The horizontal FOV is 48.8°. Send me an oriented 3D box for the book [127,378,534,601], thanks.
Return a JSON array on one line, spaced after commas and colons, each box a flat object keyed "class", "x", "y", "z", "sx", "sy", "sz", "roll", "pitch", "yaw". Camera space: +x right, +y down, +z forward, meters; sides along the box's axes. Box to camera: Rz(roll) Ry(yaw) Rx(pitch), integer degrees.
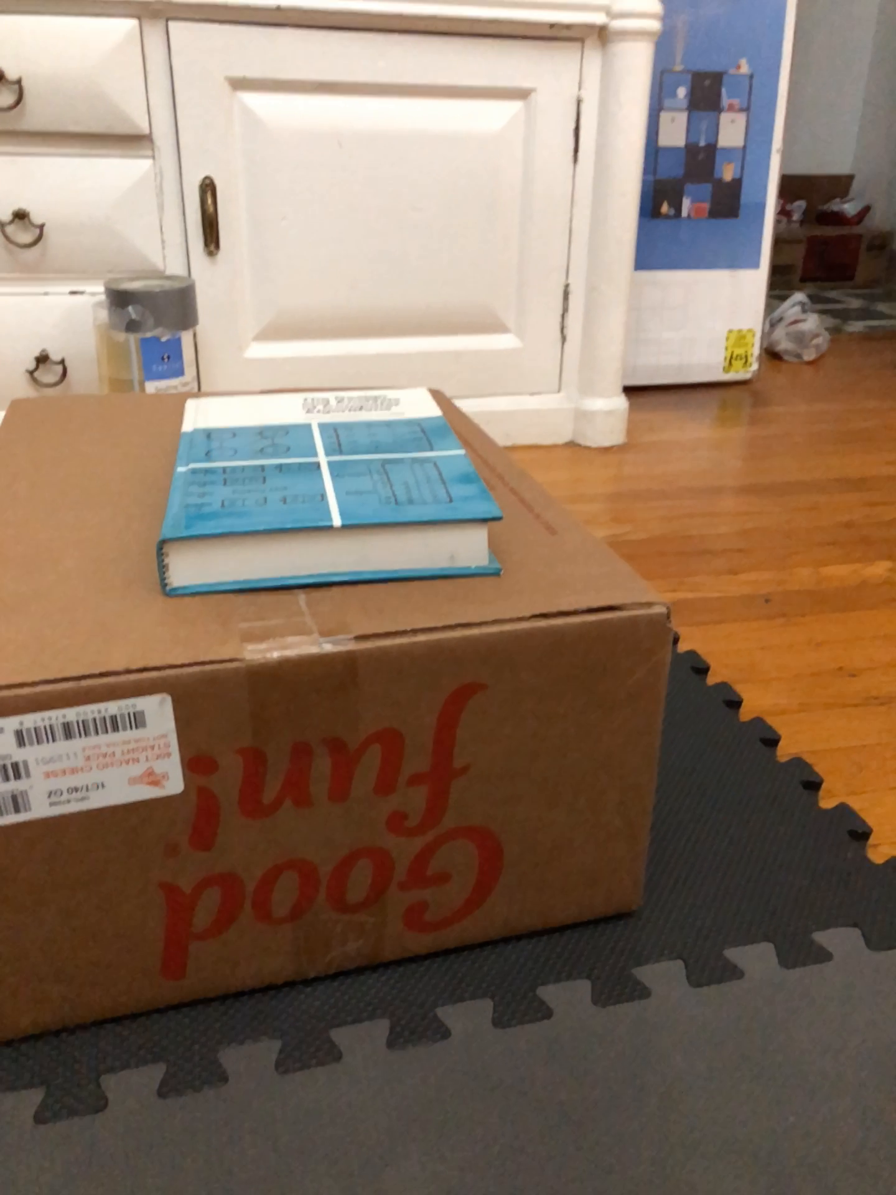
[{"class": "book", "x": -0.074, "y": -0.078, "z": 0.588, "sx": 0.190, "sy": 0.040, "sz": 0.261, "roll": -3, "pitch": 26, "yaw": -9}]
